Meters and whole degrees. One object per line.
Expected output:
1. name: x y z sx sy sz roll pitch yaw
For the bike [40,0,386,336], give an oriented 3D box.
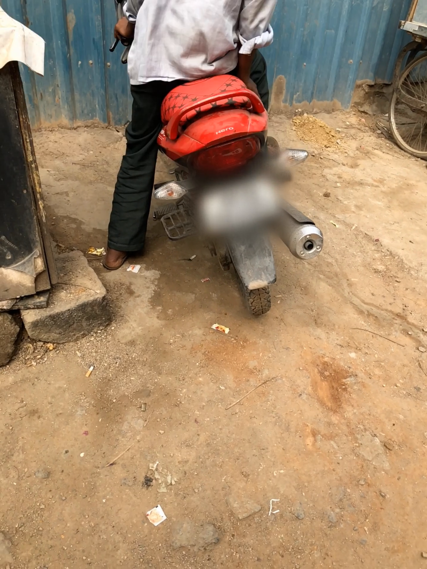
1. bike: -0.221 -0.879 1.872 0.735 1.129 1.638 -6 41 -16
